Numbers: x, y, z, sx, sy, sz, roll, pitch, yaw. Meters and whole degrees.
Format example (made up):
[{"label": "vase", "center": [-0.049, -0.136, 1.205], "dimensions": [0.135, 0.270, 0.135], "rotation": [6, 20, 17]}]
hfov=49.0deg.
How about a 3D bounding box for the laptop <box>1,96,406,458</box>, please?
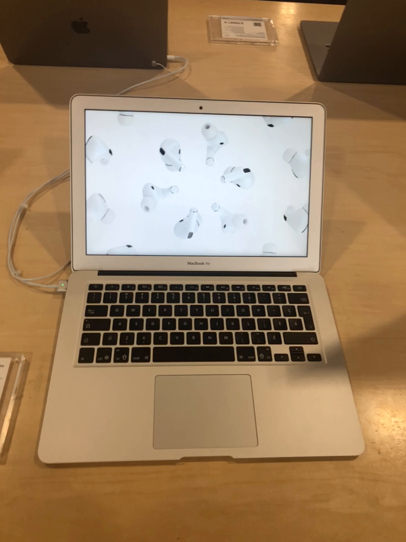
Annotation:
[{"label": "laptop", "center": [0.000, -0.015, 0.483], "dimensions": [0.302, 0.137, 0.371], "rotation": [1, 53, -5]}]
